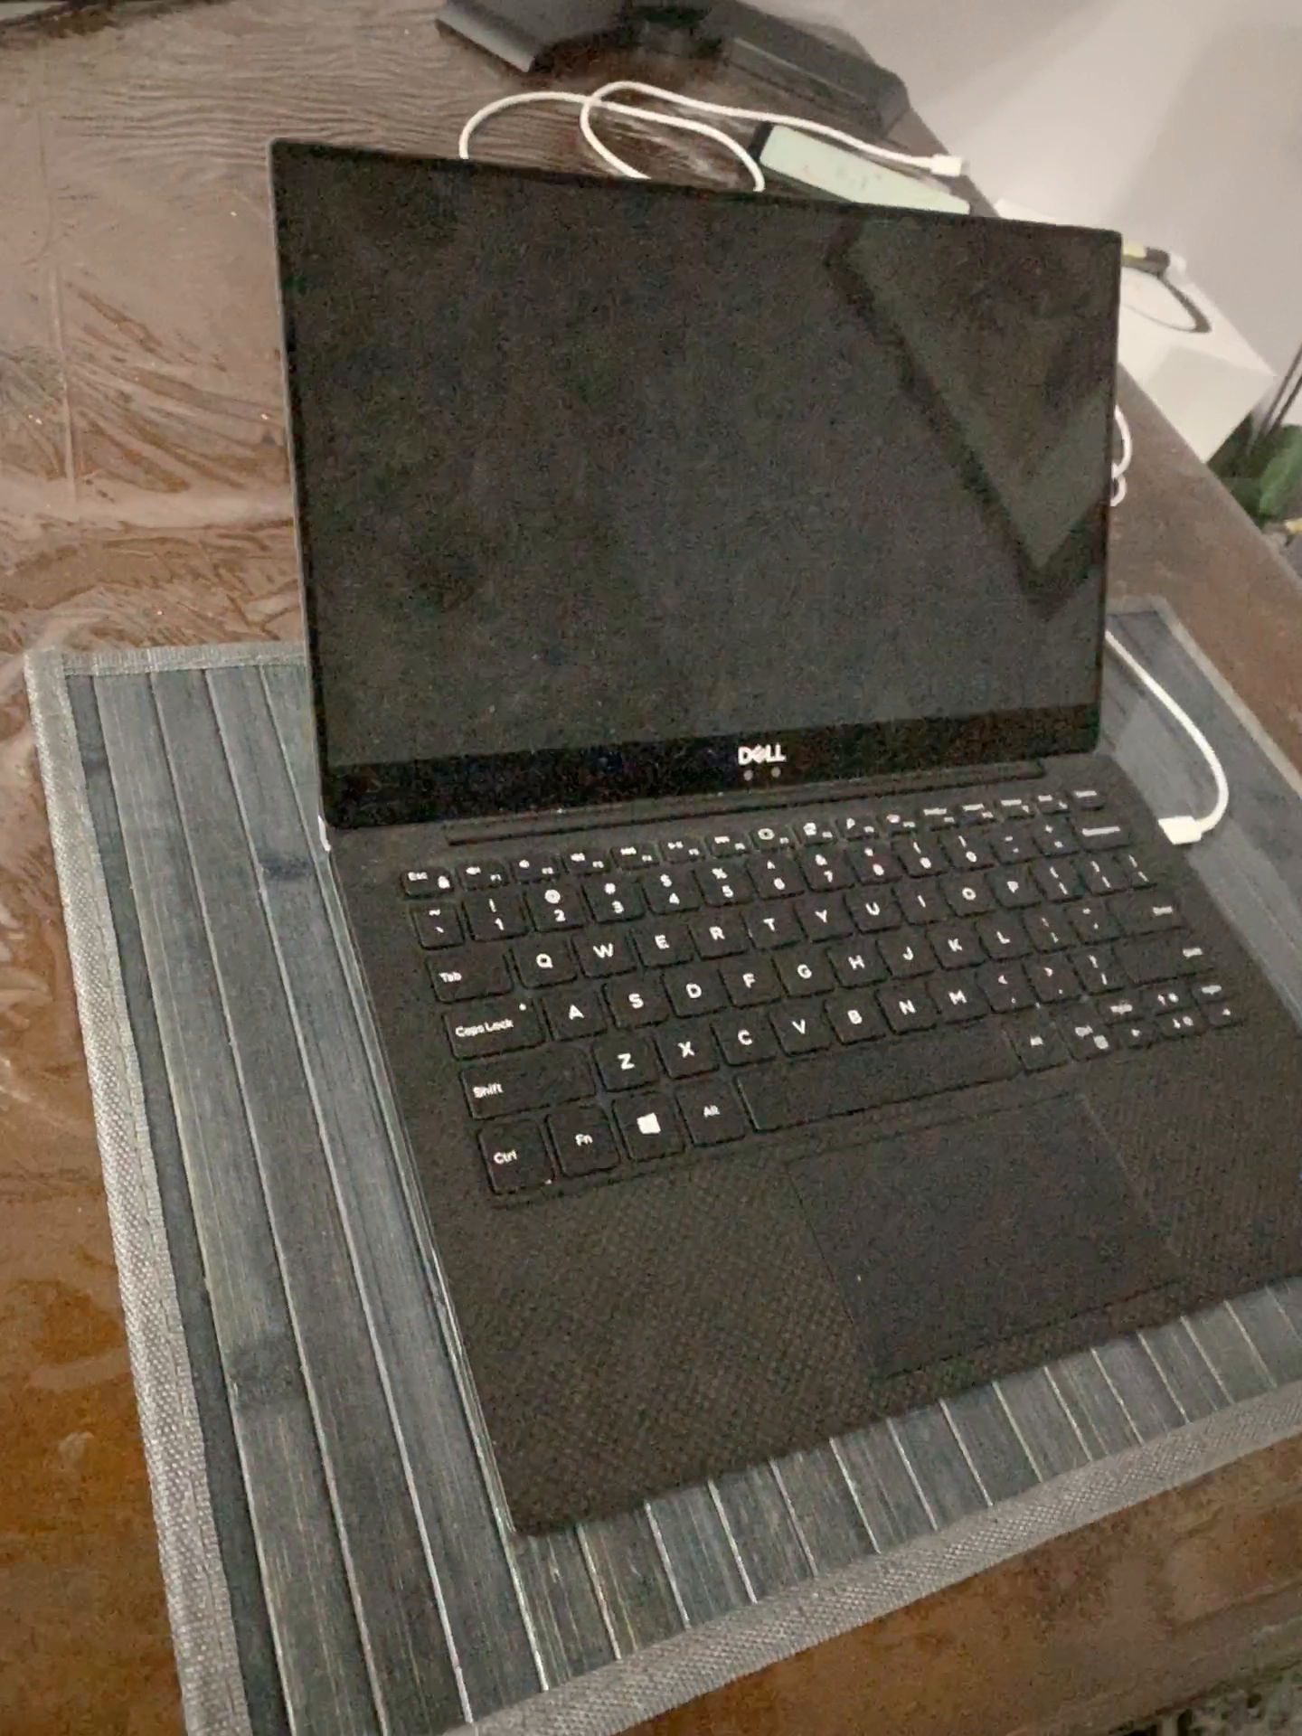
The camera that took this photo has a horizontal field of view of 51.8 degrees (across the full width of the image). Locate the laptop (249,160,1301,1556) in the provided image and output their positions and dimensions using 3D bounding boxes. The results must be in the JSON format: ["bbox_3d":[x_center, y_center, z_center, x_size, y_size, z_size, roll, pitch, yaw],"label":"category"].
[{"bbox_3d":[0.067,-0.035,0.358,0.282,0.129,0.298,-7,55,-25],"label":"laptop"}]
